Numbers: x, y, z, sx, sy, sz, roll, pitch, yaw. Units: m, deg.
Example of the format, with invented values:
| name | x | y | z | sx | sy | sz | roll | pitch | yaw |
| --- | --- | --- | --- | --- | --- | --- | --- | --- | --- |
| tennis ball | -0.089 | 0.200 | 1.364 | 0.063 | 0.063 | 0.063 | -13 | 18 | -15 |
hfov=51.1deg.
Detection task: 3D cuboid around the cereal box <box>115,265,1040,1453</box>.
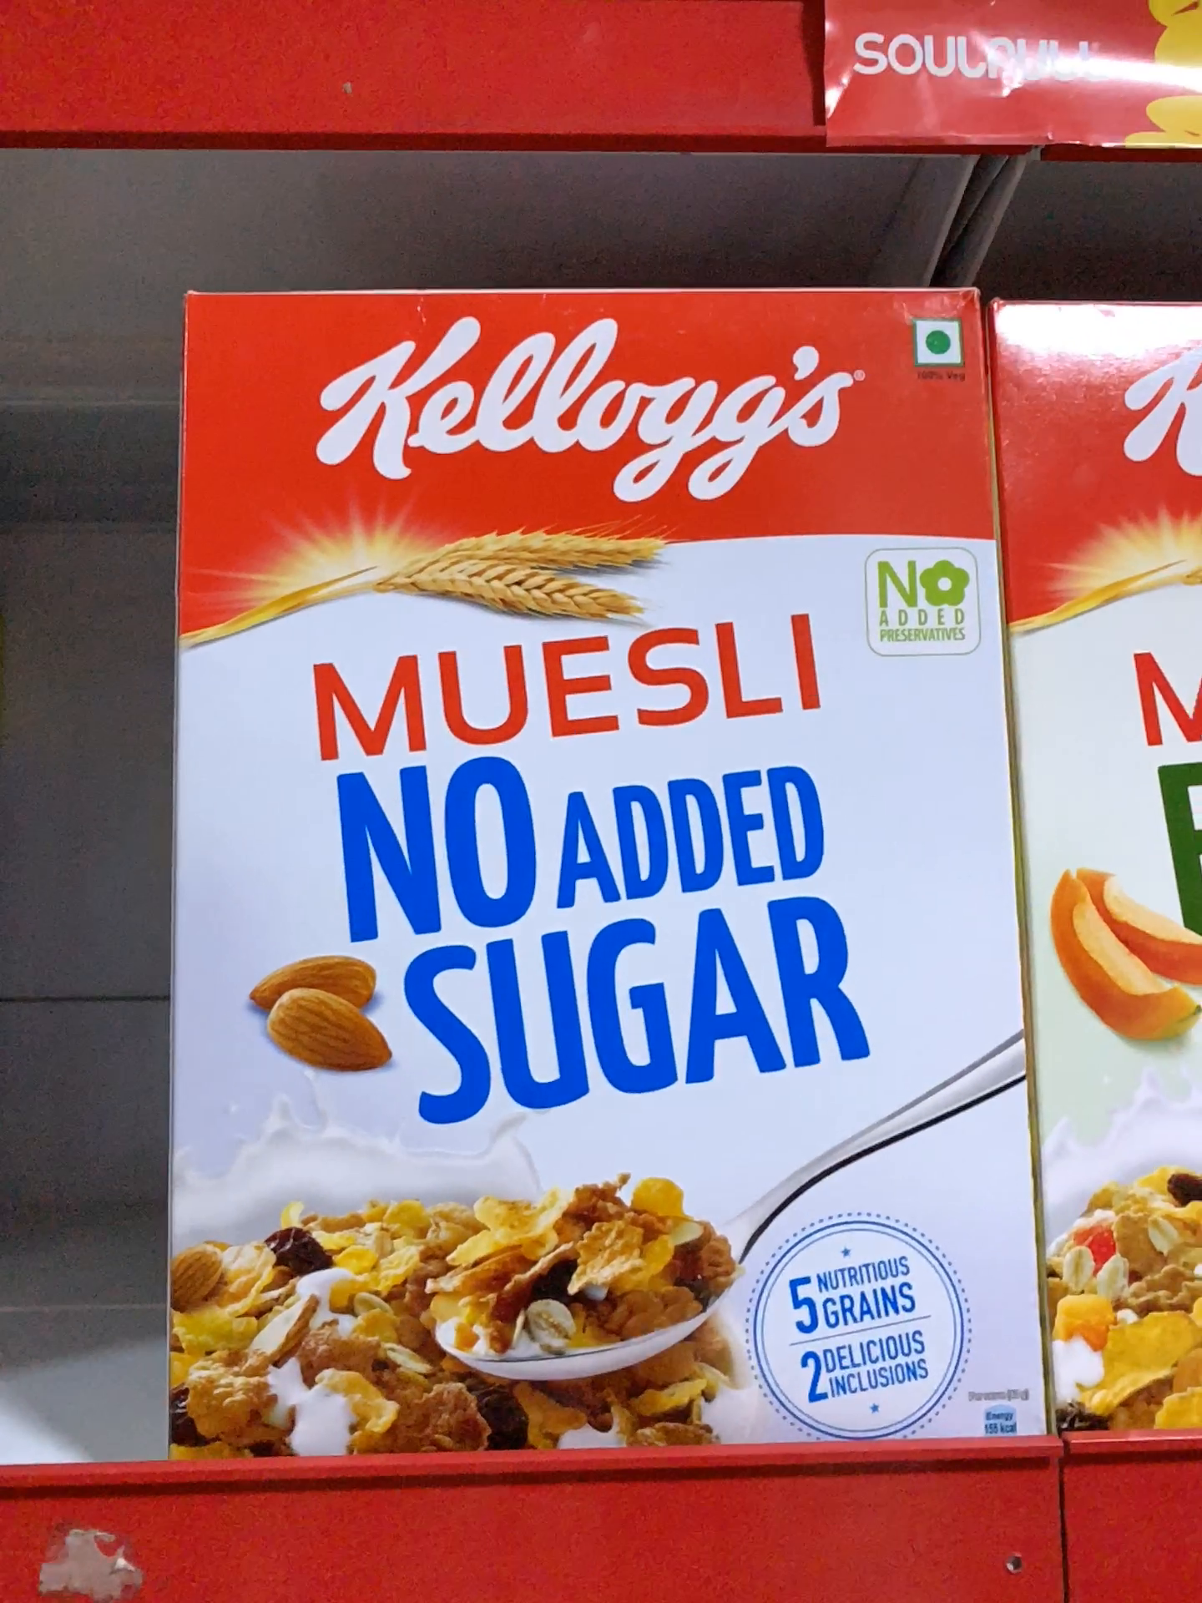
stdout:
| name | x | y | z | sx | sy | sz | roll | pitch | yaw |
| --- | --- | --- | --- | --- | --- | --- | --- | --- | --- |
| cereal box | -0.006 | 0.007 | 0.282 | 0.180 | 0.241 | 0.050 | -1 | -6 | -2 |
